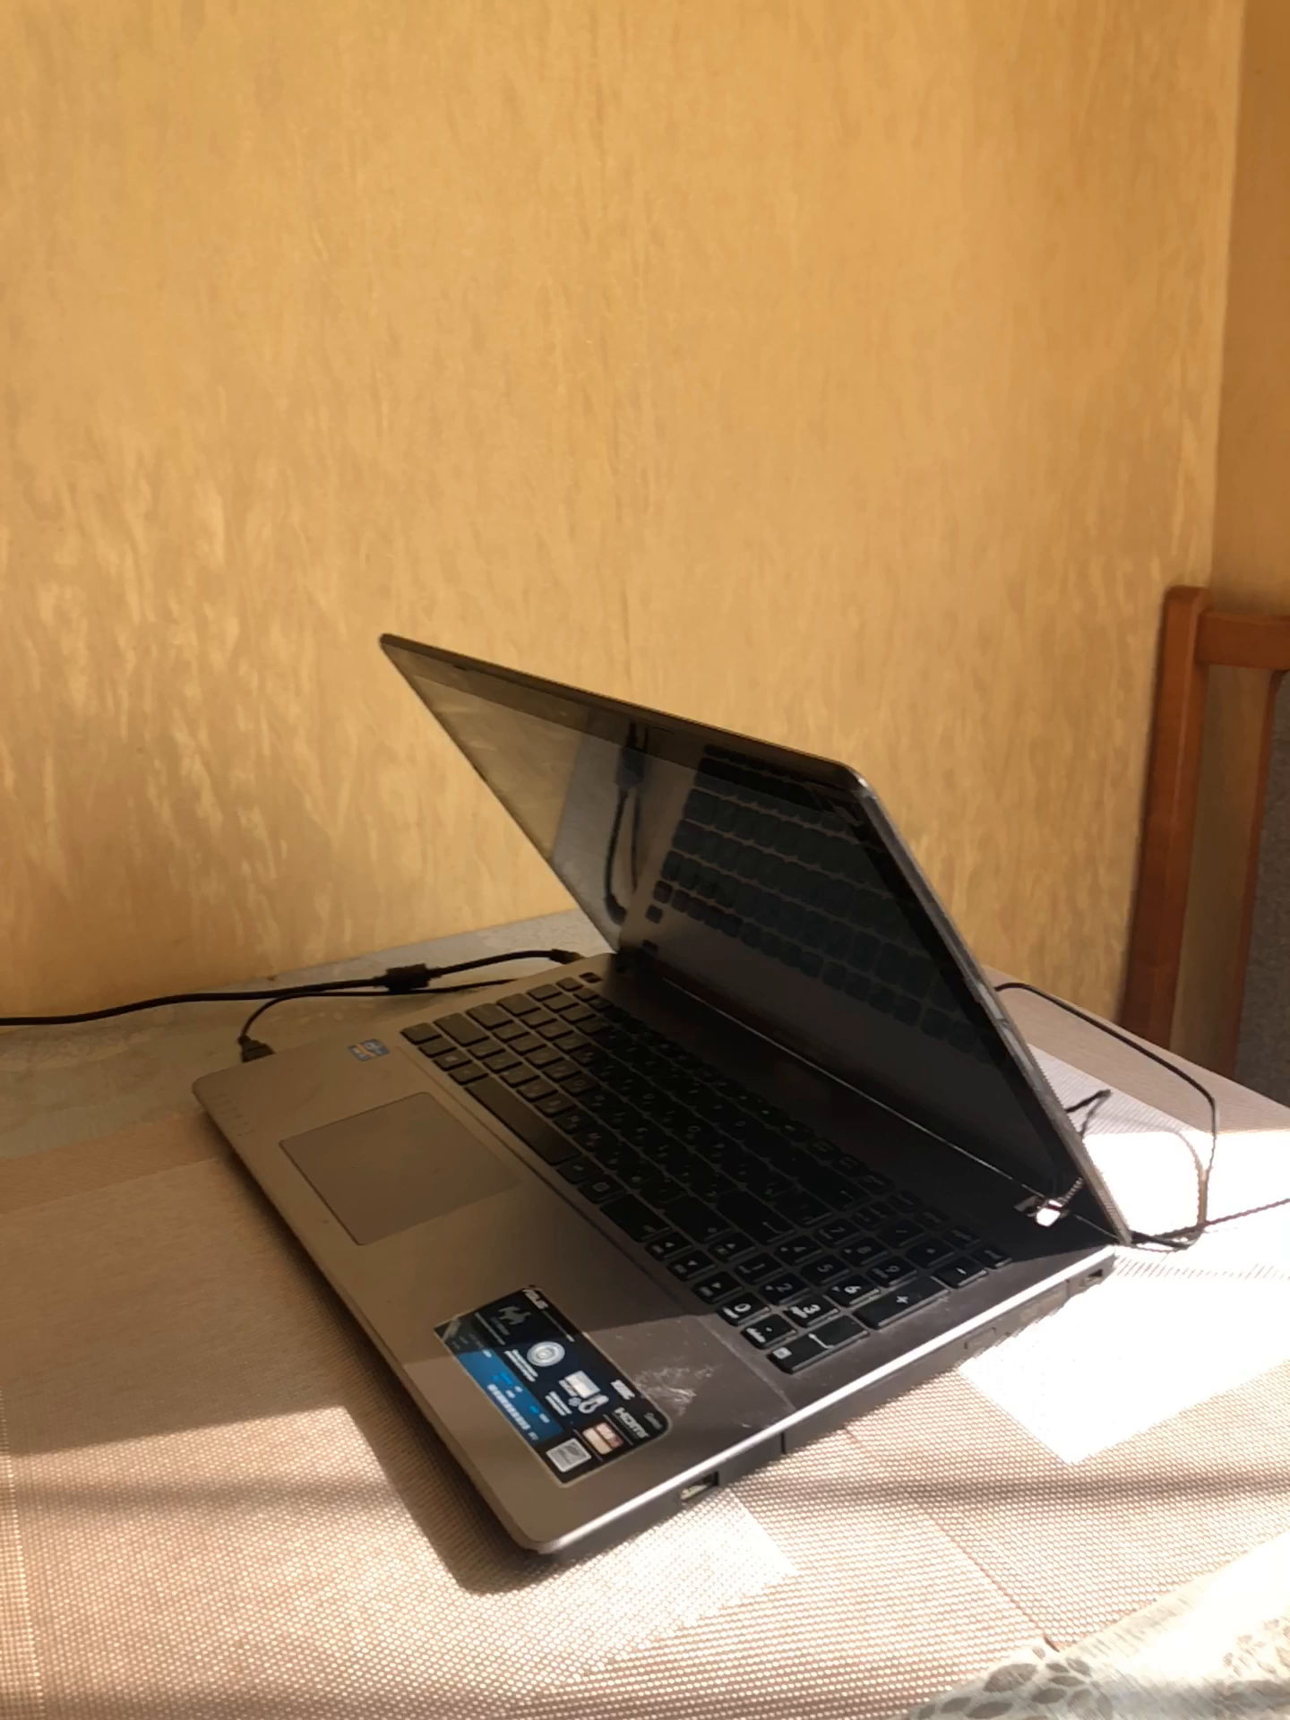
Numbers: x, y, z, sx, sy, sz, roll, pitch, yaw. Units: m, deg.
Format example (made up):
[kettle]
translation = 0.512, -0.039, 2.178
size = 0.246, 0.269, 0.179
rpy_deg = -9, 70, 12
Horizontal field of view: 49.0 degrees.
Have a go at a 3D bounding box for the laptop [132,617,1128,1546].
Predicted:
[laptop]
translation = -0.034, 0.033, 0.592
size = 0.242, 0.196, 0.370
rpy_deg = -14, 21, -29
